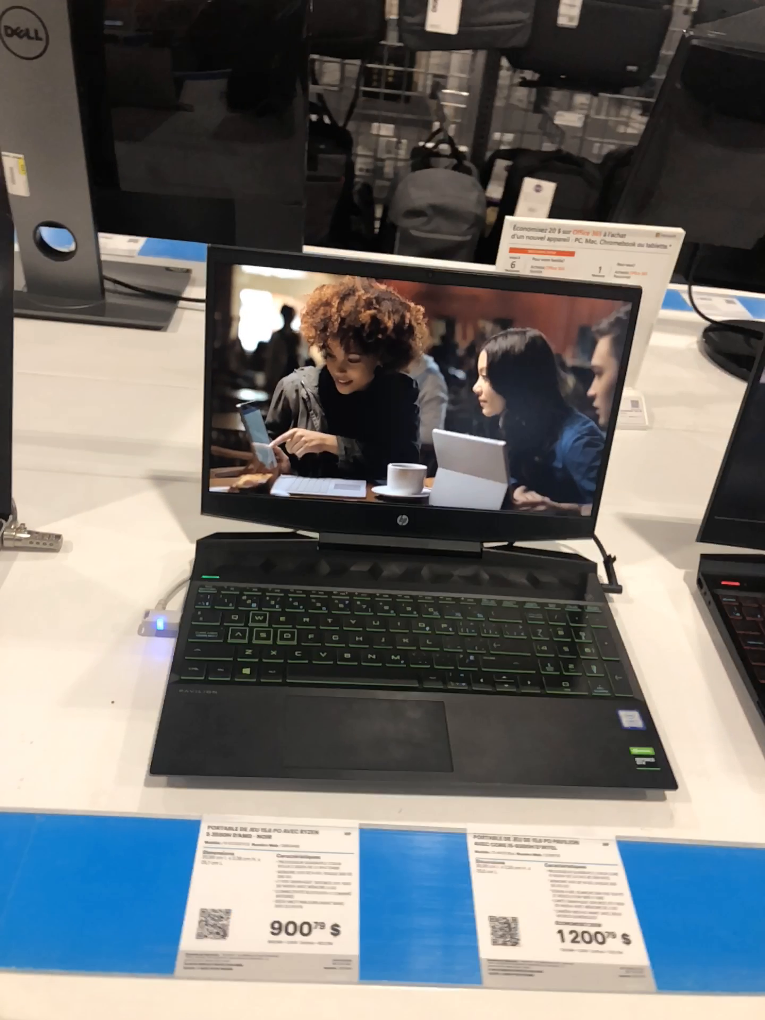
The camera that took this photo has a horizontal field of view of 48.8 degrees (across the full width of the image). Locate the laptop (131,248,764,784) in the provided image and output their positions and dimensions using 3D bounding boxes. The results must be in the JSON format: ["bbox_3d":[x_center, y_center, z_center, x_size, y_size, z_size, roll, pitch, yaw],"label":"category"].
[{"bbox_3d":[0.031,-0.008,0.628,0.355,0.232,0.317,4,34,-7],"label":"laptop"}]
